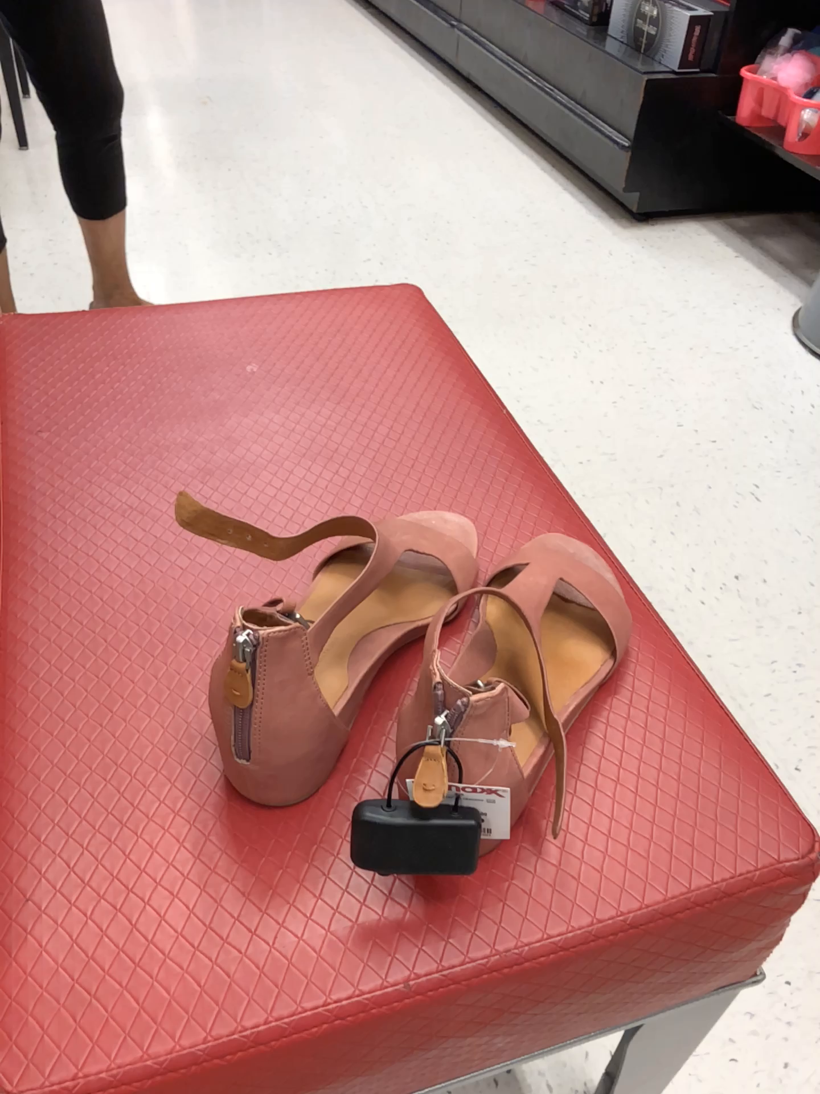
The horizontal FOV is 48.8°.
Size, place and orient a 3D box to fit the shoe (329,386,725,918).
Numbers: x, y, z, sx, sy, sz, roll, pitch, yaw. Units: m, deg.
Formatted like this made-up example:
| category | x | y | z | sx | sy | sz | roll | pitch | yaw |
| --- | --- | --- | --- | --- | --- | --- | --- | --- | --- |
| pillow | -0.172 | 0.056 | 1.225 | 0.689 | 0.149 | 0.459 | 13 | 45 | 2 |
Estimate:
| category | x | y | z | sx | sy | sz | roll | pitch | yaw |
| --- | --- | --- | --- | --- | --- | --- | --- | --- | --- |
| shoe | 0.072 | 0.037 | 0.493 | 0.103 | 0.126 | 0.264 | 22 | 42 | 19 |

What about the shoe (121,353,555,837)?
| category | x | y | z | sx | sy | sz | roll | pitch | yaw |
| --- | --- | --- | --- | --- | --- | --- | --- | --- | --- |
| shoe | -0.025 | 0.008 | 0.511 | 0.106 | 0.116 | 0.261 | 22 | 42 | 19 |
